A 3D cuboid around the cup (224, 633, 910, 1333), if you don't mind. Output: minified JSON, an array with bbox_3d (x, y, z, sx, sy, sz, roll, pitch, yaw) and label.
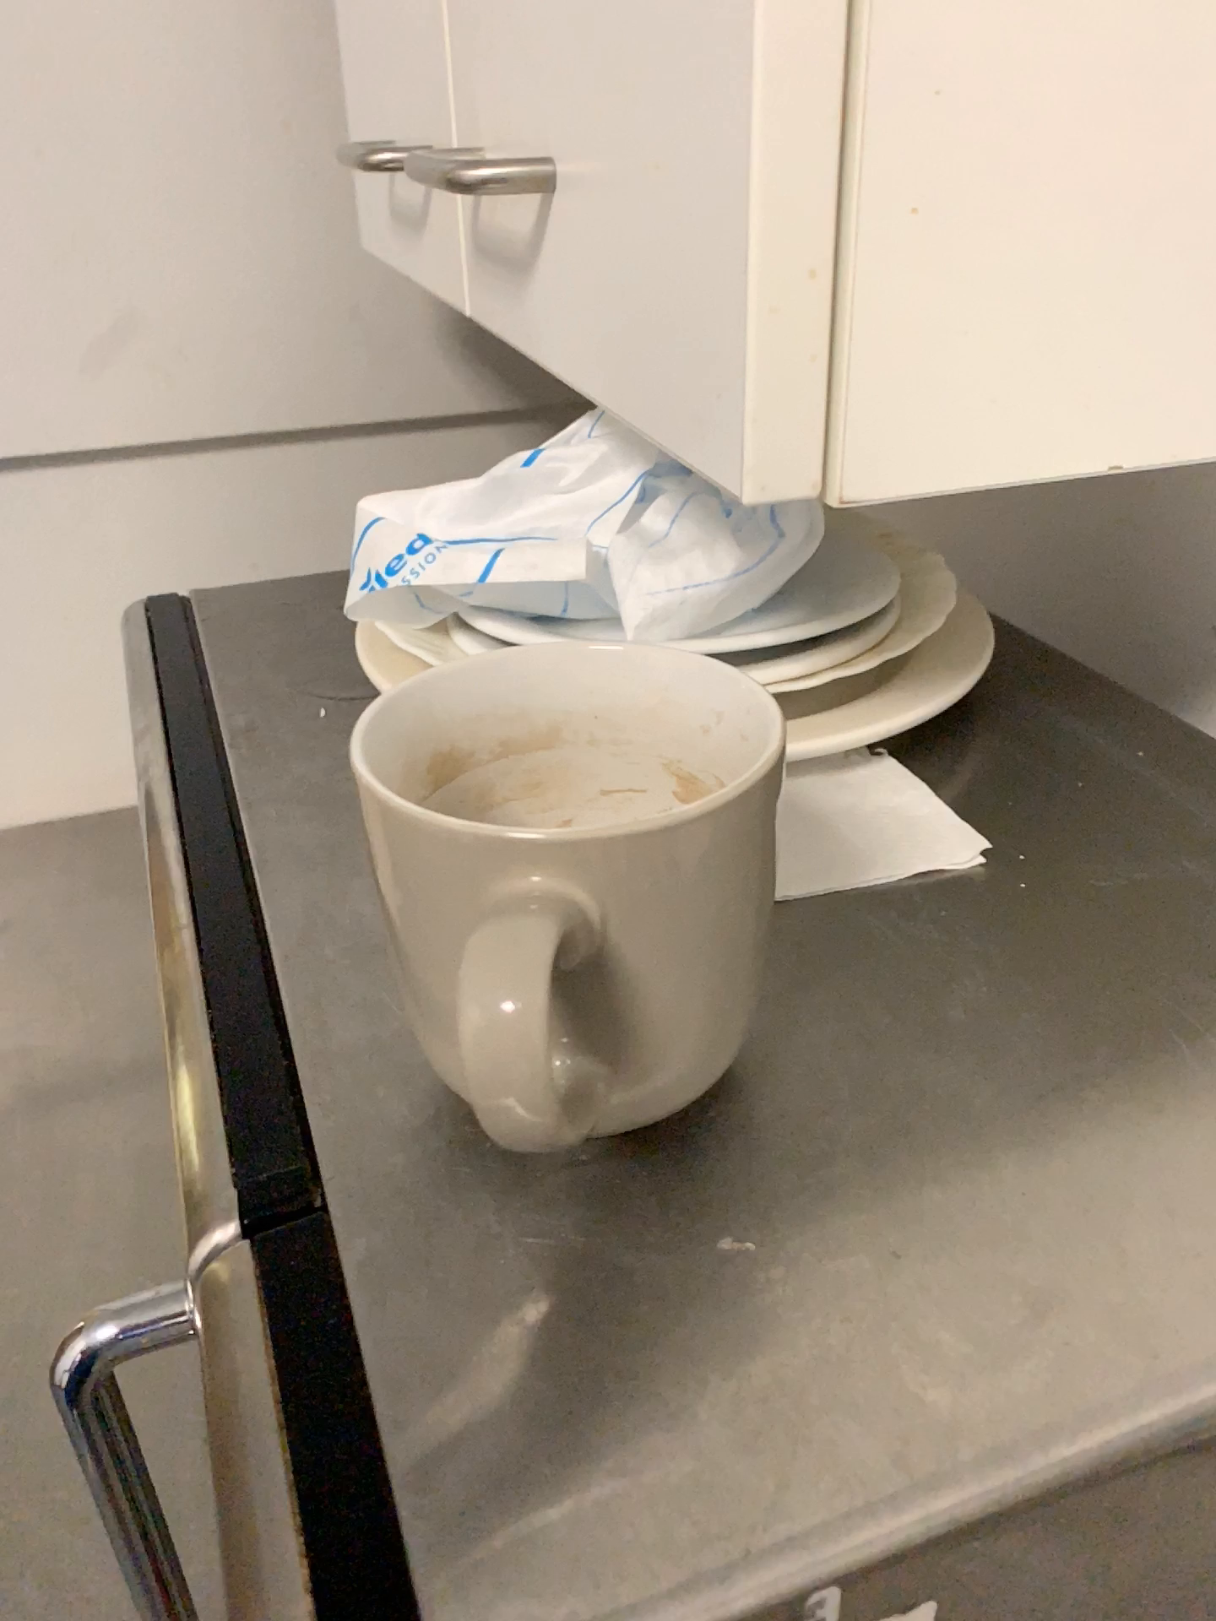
[{"bbox_3d":[-0.007,0.025,0.258,0.101,0.079,0.125,-2,29,-1],"label":"cup"}]
